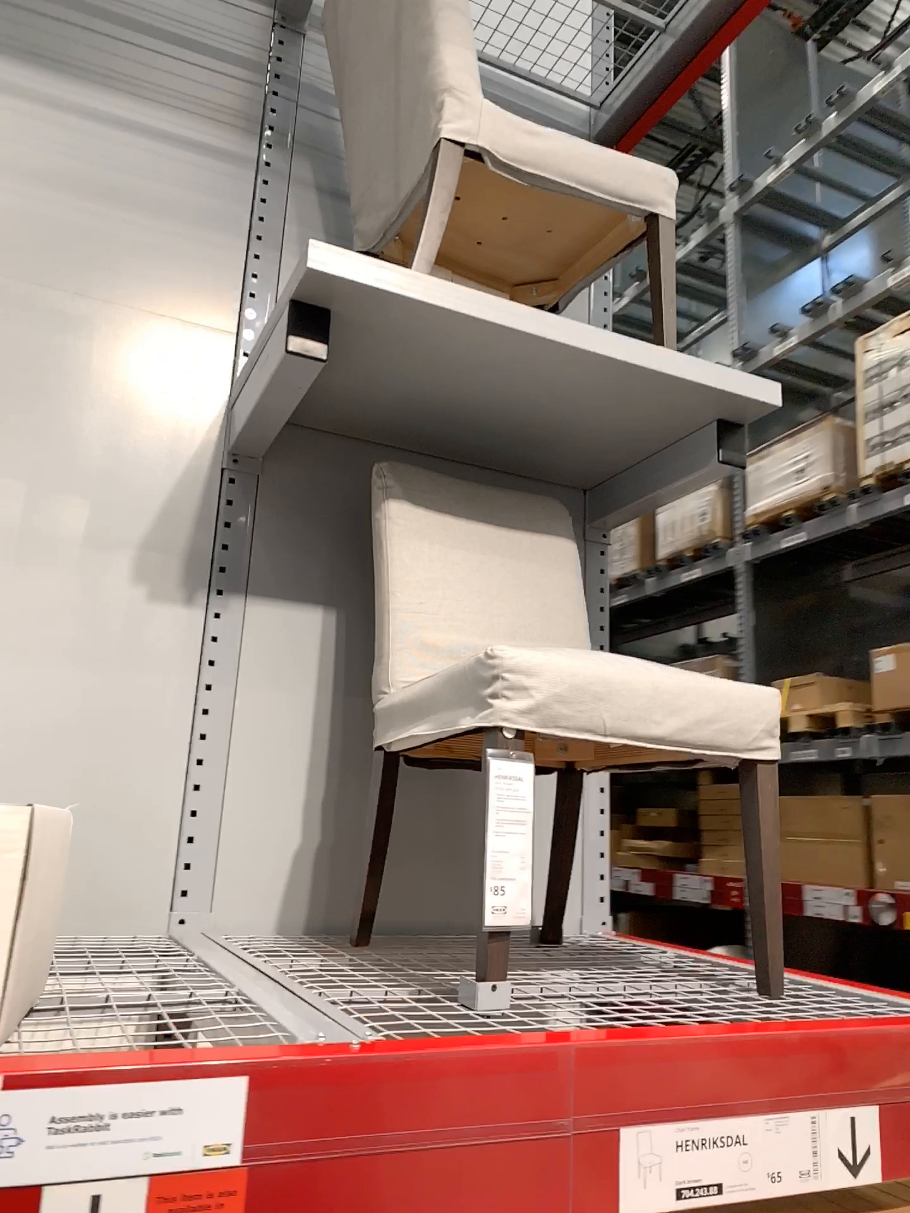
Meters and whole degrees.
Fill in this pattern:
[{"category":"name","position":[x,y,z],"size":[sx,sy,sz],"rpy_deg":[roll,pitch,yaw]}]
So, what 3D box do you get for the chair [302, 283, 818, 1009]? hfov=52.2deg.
[{"category":"chair","position":[0.148,0.110,1.642],"size":[0.559,0.983,0.668],"rpy_deg":[10,-16,-26]}]
